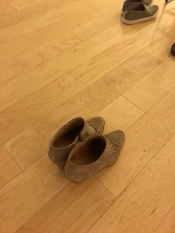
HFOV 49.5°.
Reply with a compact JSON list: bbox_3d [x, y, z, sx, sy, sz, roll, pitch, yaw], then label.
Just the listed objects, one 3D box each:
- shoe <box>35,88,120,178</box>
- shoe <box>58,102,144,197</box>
[{"bbox_3d":[-0.022,0.045,0.598,0.110,0.109,0.251,34,60,21],"label":"shoe"},{"bbox_3d":[0.045,0.091,0.575,0.110,0.109,0.251,36,61,21],"label":"shoe"}]
